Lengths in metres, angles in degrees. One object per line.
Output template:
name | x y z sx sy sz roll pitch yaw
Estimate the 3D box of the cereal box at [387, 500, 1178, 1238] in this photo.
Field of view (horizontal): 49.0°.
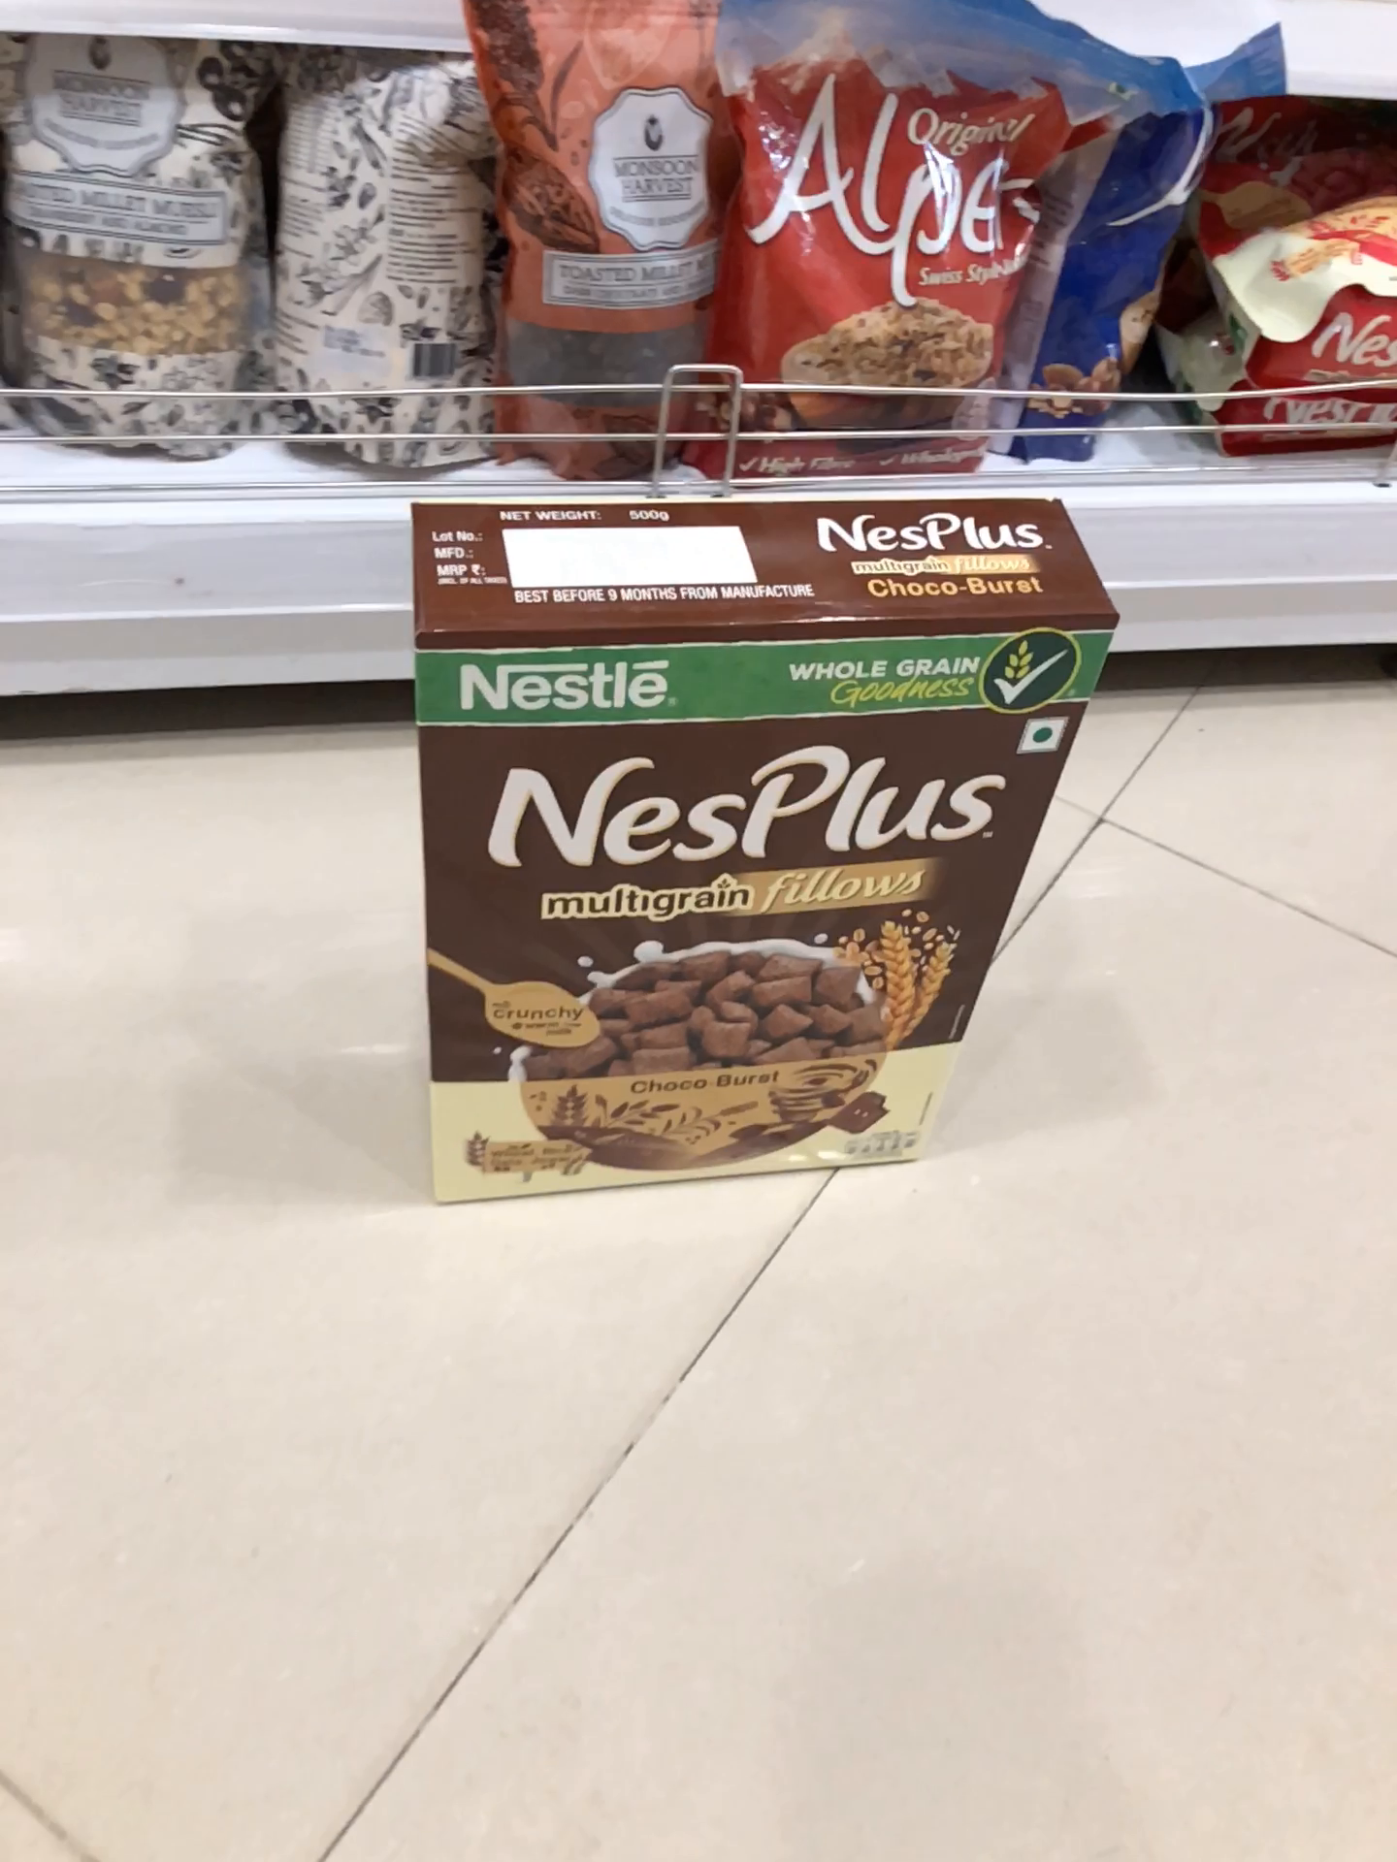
cereal box | 0.009 -0.007 0.493 0.200 0.258 0.060 -3 47 -11
